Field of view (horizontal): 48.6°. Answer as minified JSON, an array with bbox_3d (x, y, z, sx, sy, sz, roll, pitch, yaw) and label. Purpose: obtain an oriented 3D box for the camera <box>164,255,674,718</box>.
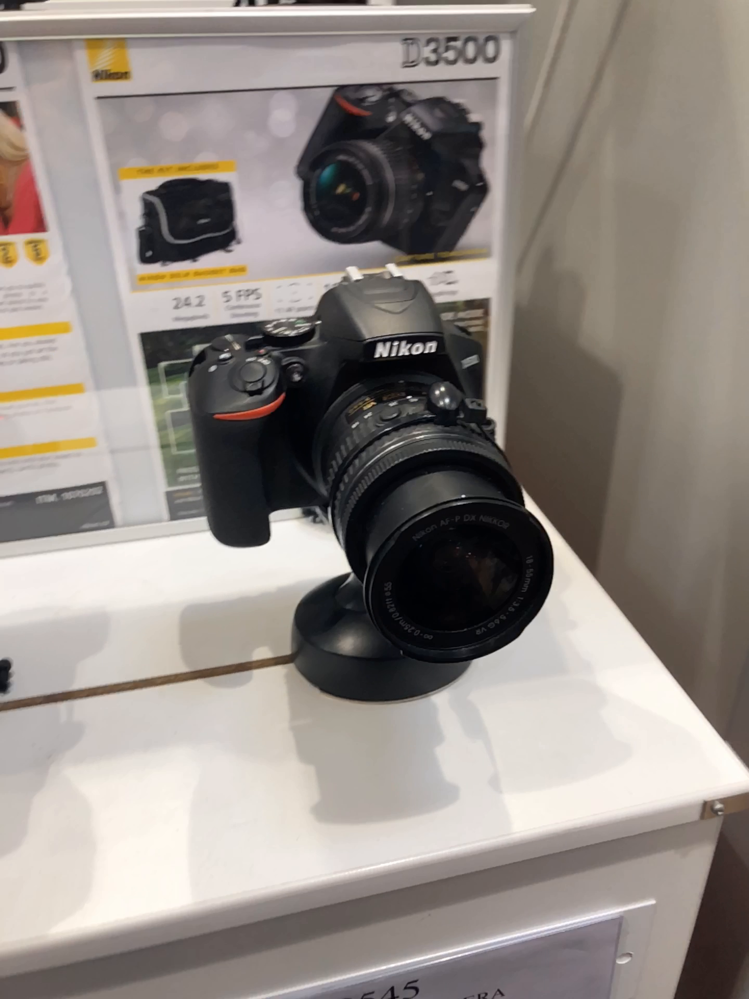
[{"bbox_3d":[0.001,-0.018,0.289,0.130,0.089,0.141,-8,31,-11],"label":"camera"}]
